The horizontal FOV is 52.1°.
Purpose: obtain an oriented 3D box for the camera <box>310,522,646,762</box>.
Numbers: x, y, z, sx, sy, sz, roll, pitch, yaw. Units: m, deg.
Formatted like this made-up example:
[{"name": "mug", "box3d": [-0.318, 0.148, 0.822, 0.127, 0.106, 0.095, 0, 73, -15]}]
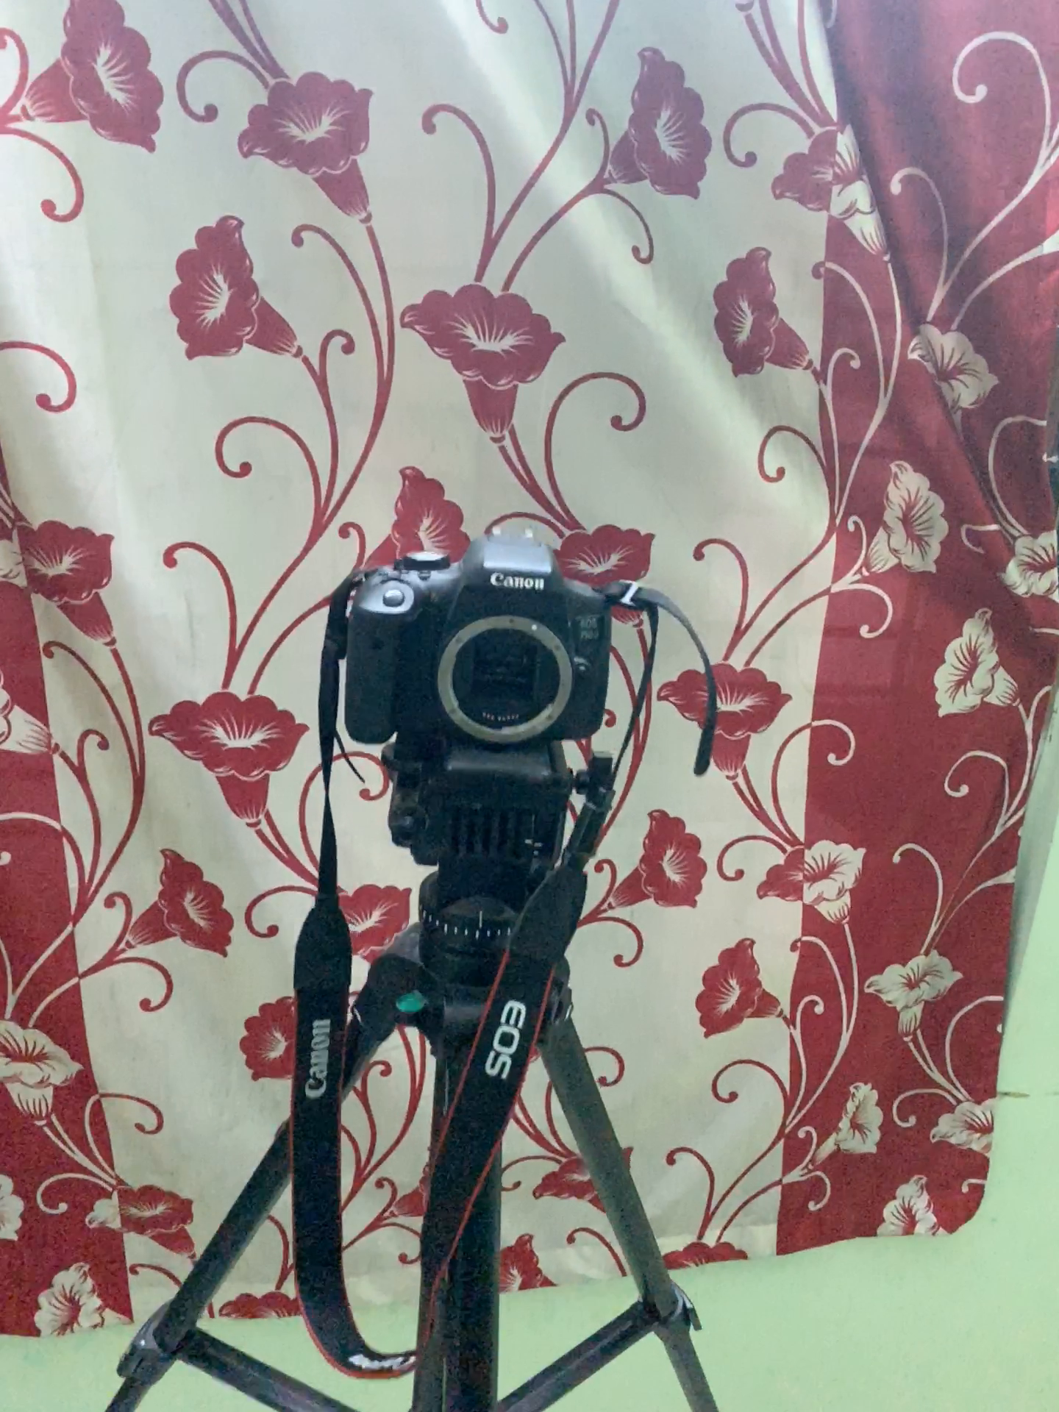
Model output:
[{"name": "camera", "box3d": [-0.027, -0.032, 0.513, 0.142, 0.088, 0.085, 2, 18, -7]}]
